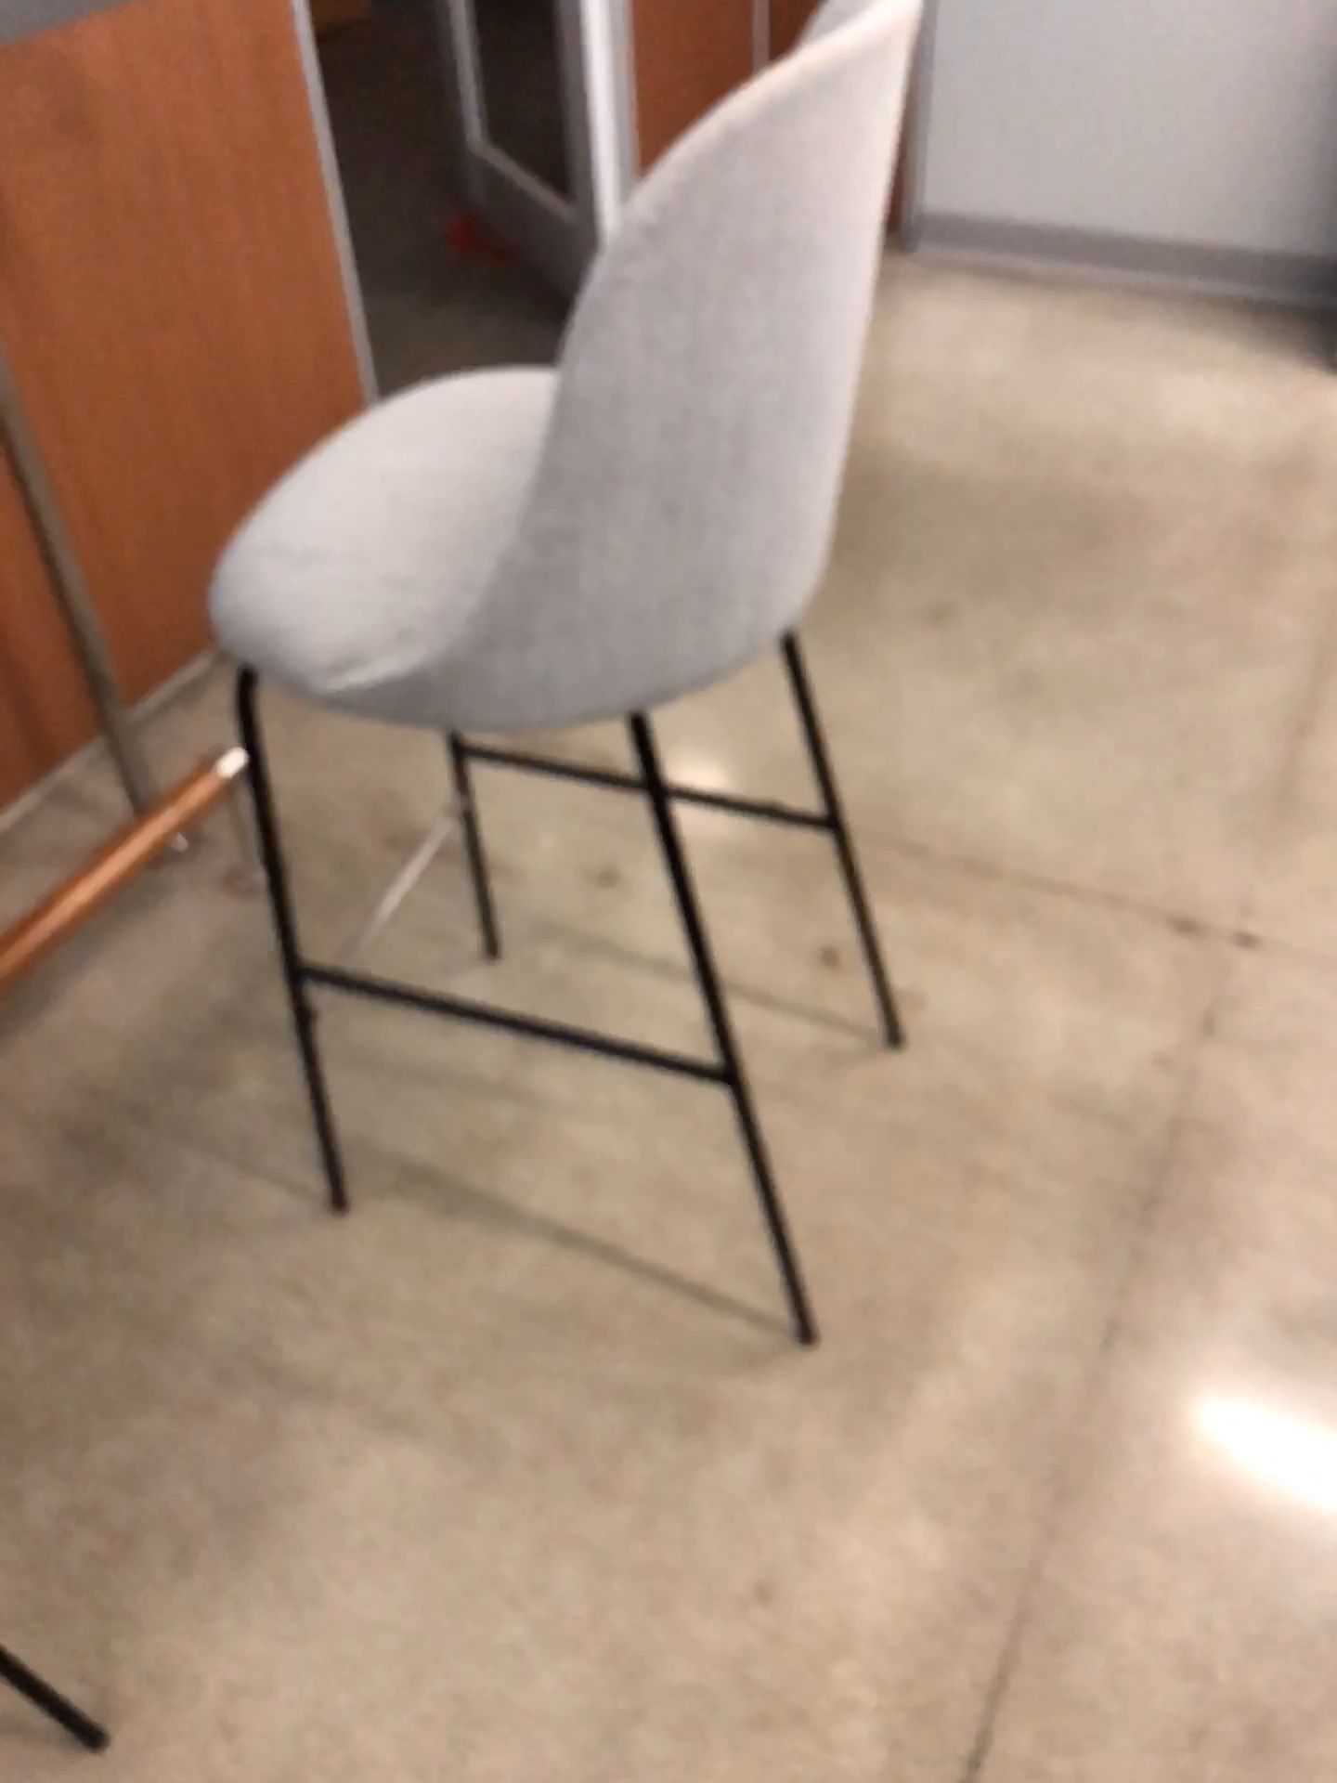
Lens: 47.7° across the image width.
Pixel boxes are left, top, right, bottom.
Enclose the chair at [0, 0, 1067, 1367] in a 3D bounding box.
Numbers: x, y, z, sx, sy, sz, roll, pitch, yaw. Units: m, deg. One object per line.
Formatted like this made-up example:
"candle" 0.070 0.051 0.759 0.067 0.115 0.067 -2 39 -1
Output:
"chair" -0.096 -0.182 1.265 0.621 1.095 0.462 12 44 16
